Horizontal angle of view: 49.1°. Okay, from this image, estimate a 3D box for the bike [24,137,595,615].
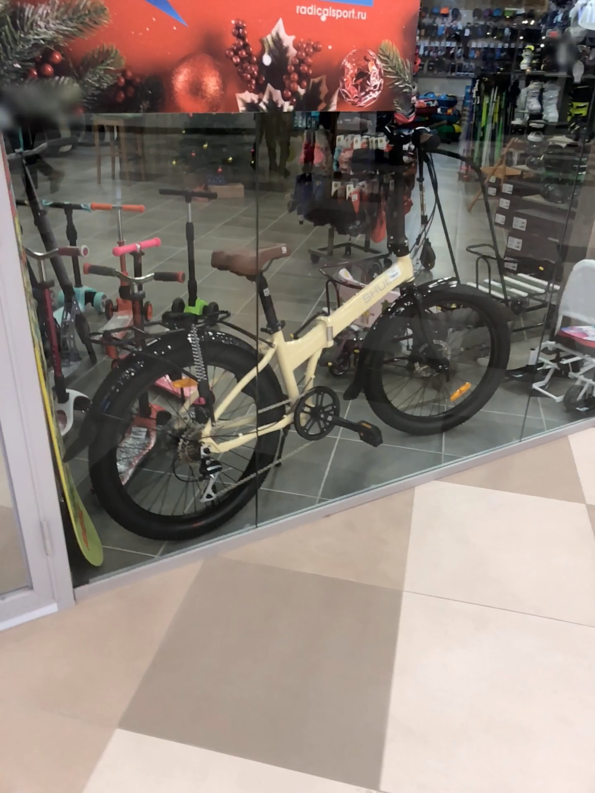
[{"bbox_3d":[0.209,-0.203,2.161,1.705,1.175,0.595,-14,30,-32],"label":"bike"}]
